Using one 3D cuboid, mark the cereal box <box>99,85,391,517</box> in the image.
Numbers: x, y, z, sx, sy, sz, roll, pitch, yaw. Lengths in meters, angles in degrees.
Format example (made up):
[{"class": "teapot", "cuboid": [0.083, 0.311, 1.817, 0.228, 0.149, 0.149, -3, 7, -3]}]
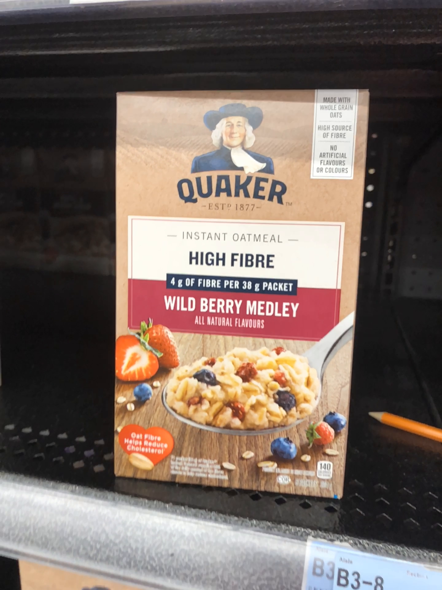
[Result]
[{"class": "cereal box", "cuboid": [0.009, 0.000, 0.271, 0.130, 0.200, 0.070, 3, 9, 8]}]
